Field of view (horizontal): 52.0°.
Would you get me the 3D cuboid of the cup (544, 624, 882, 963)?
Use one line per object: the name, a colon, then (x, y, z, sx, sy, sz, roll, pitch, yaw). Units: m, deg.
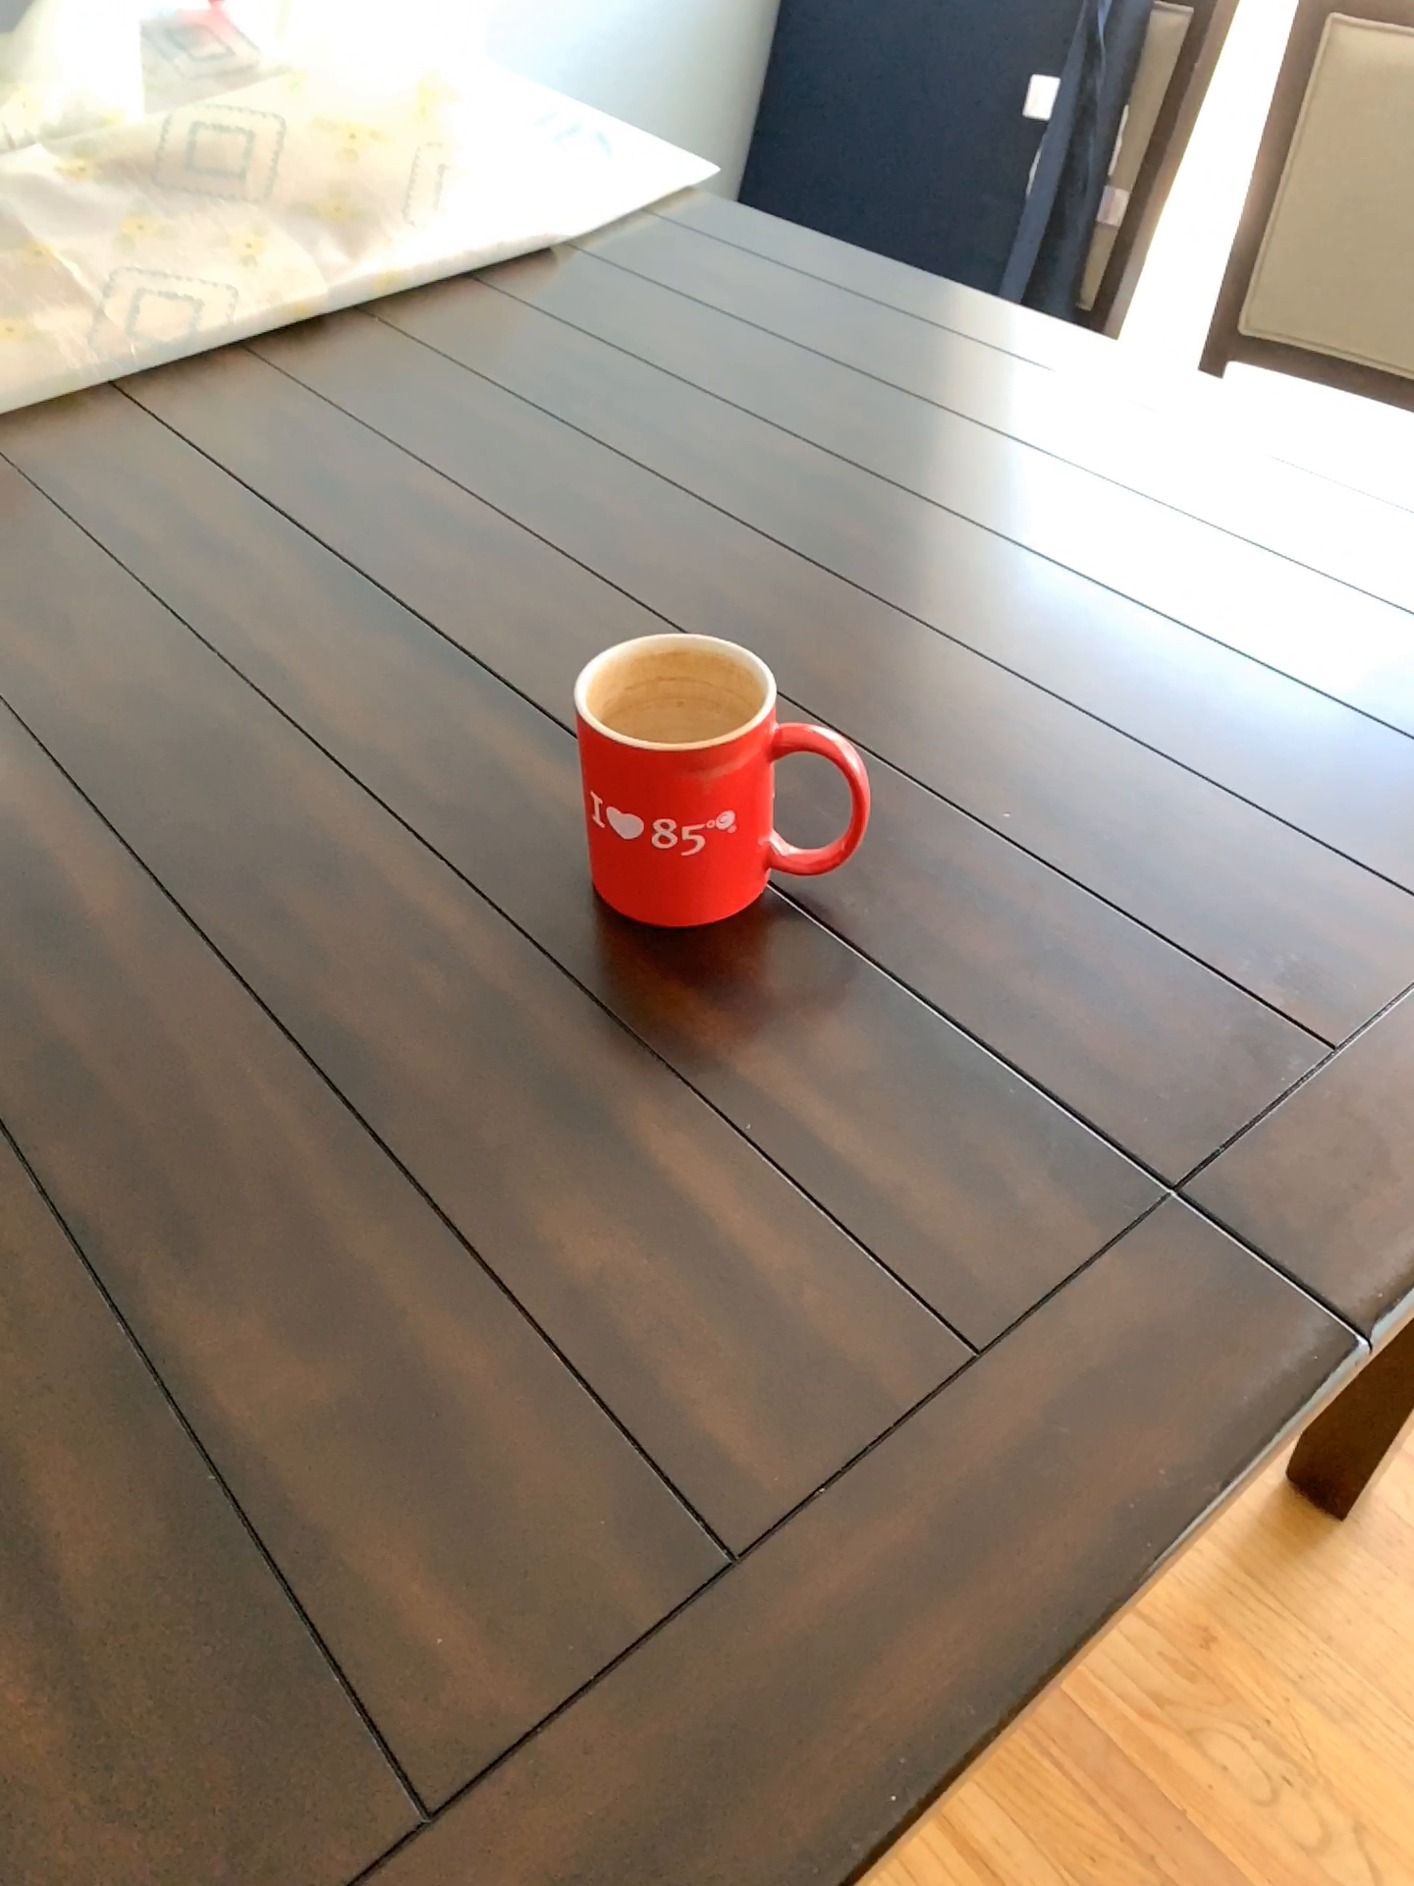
cup: (0.005, -0.060, 0.586, 0.120, 0.100, 0.080, 5, 43, 5)
